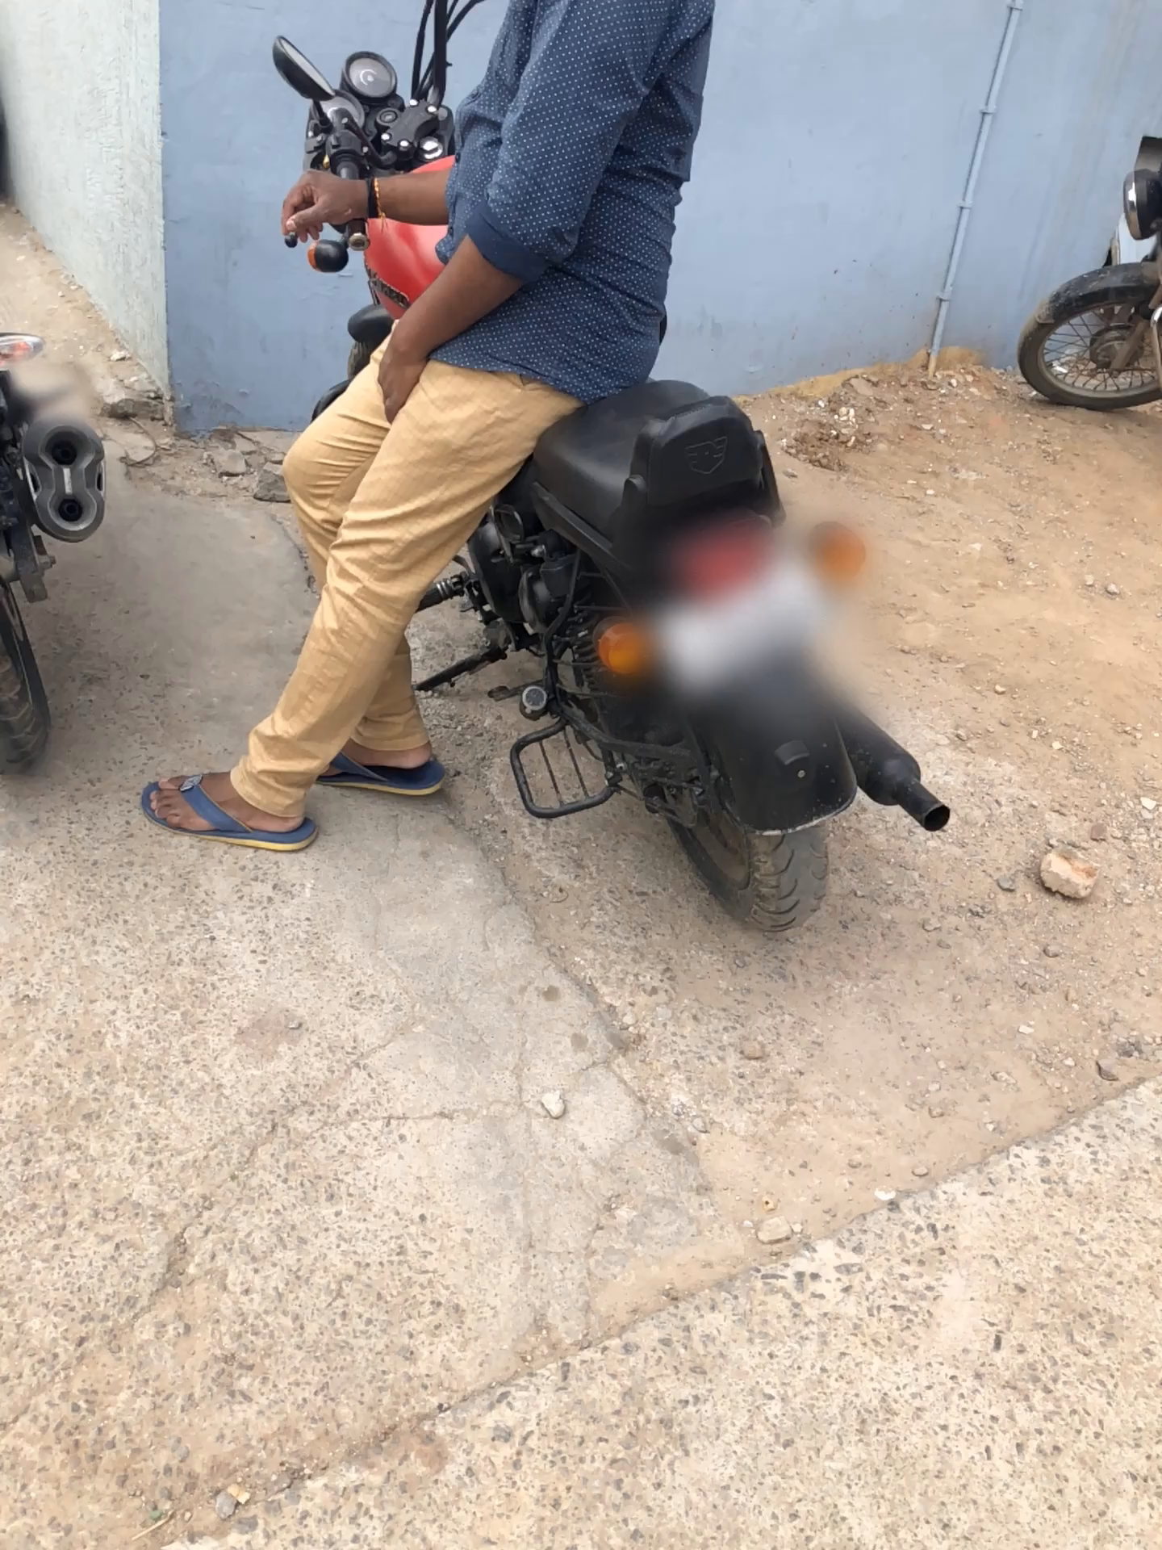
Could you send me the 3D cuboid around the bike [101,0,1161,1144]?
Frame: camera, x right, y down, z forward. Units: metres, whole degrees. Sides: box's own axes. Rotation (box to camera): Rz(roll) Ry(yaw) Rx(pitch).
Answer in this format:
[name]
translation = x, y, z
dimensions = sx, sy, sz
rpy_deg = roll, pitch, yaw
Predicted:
[bike]
translation = -0.139, -0.660, 1.866
dimensions = 0.779, 1.245, 1.544
rpy_deg = -8, 40, -25
